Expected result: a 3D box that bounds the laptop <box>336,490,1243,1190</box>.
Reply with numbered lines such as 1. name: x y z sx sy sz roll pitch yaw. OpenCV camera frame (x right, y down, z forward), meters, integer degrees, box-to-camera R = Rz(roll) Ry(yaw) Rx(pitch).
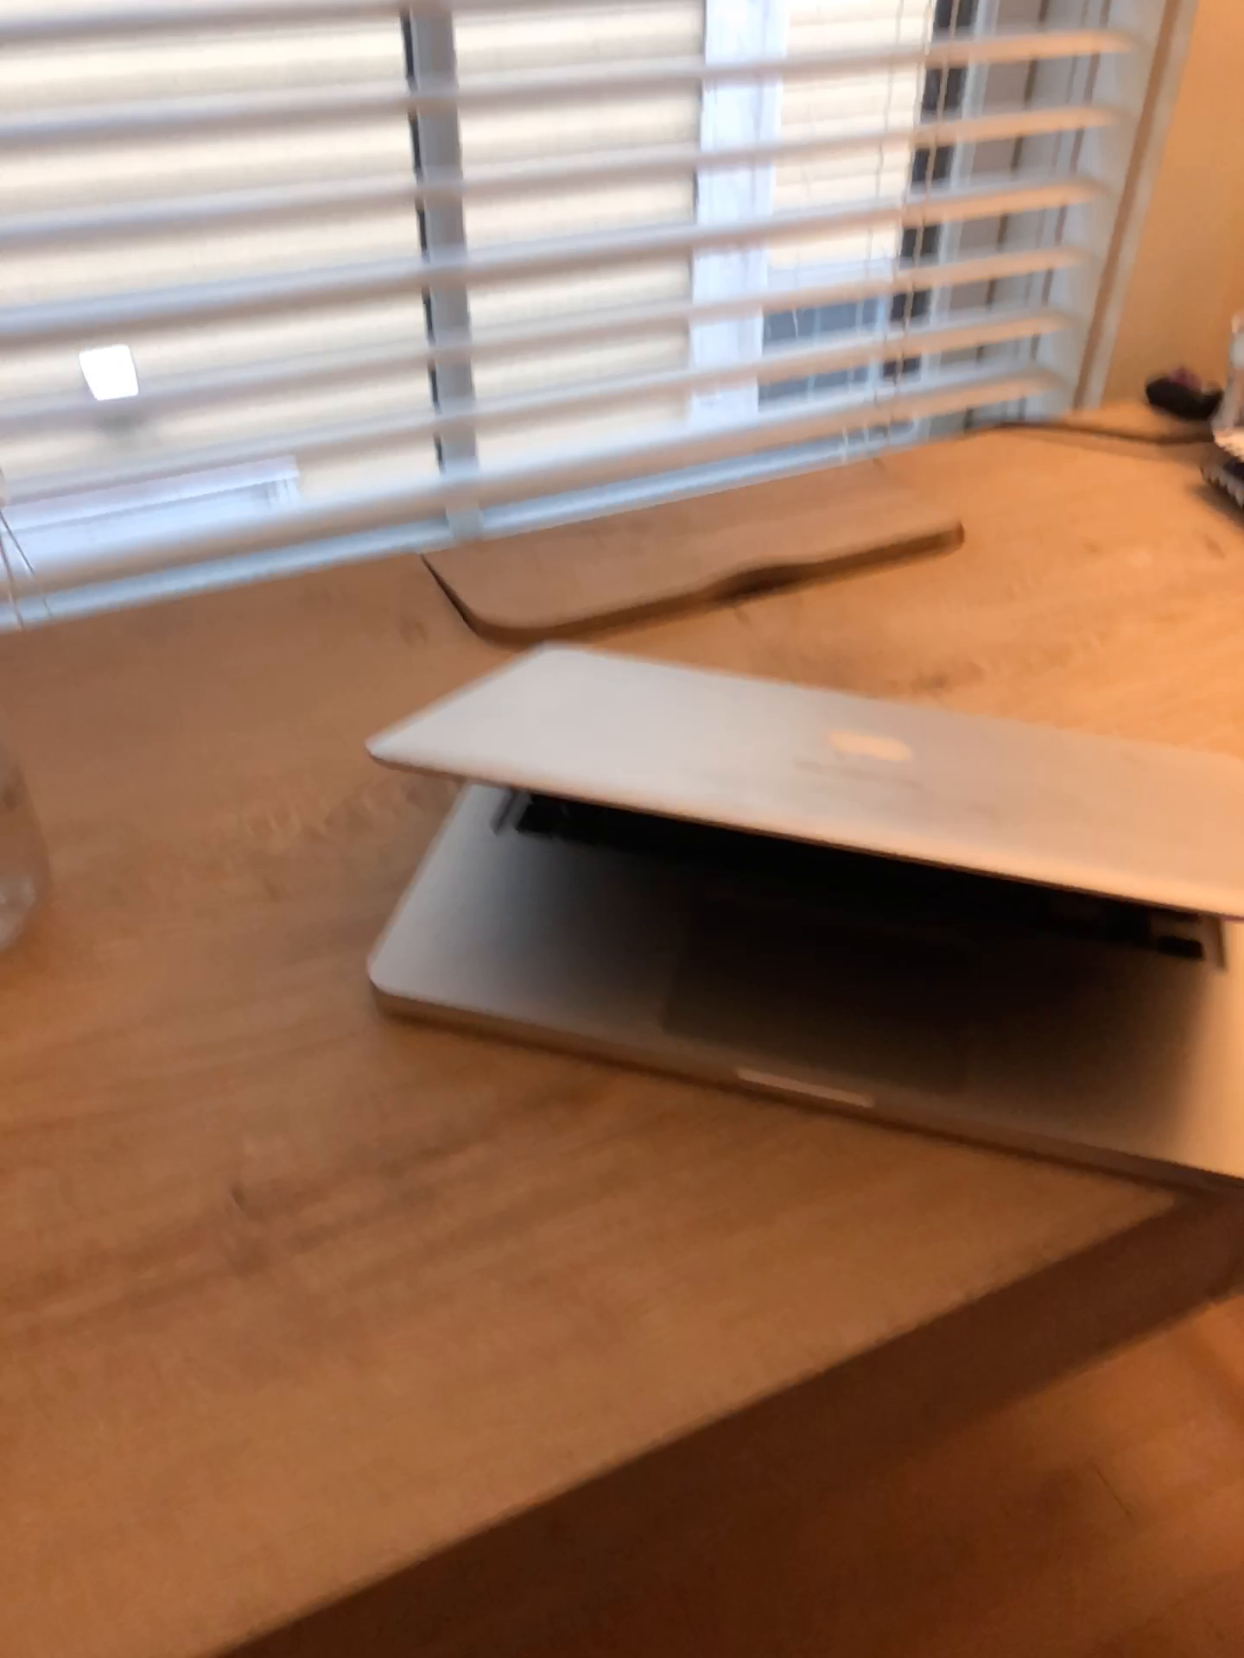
1. laptop: 0.089 -0.018 0.524 0.318 0.089 0.230 10 41 10
